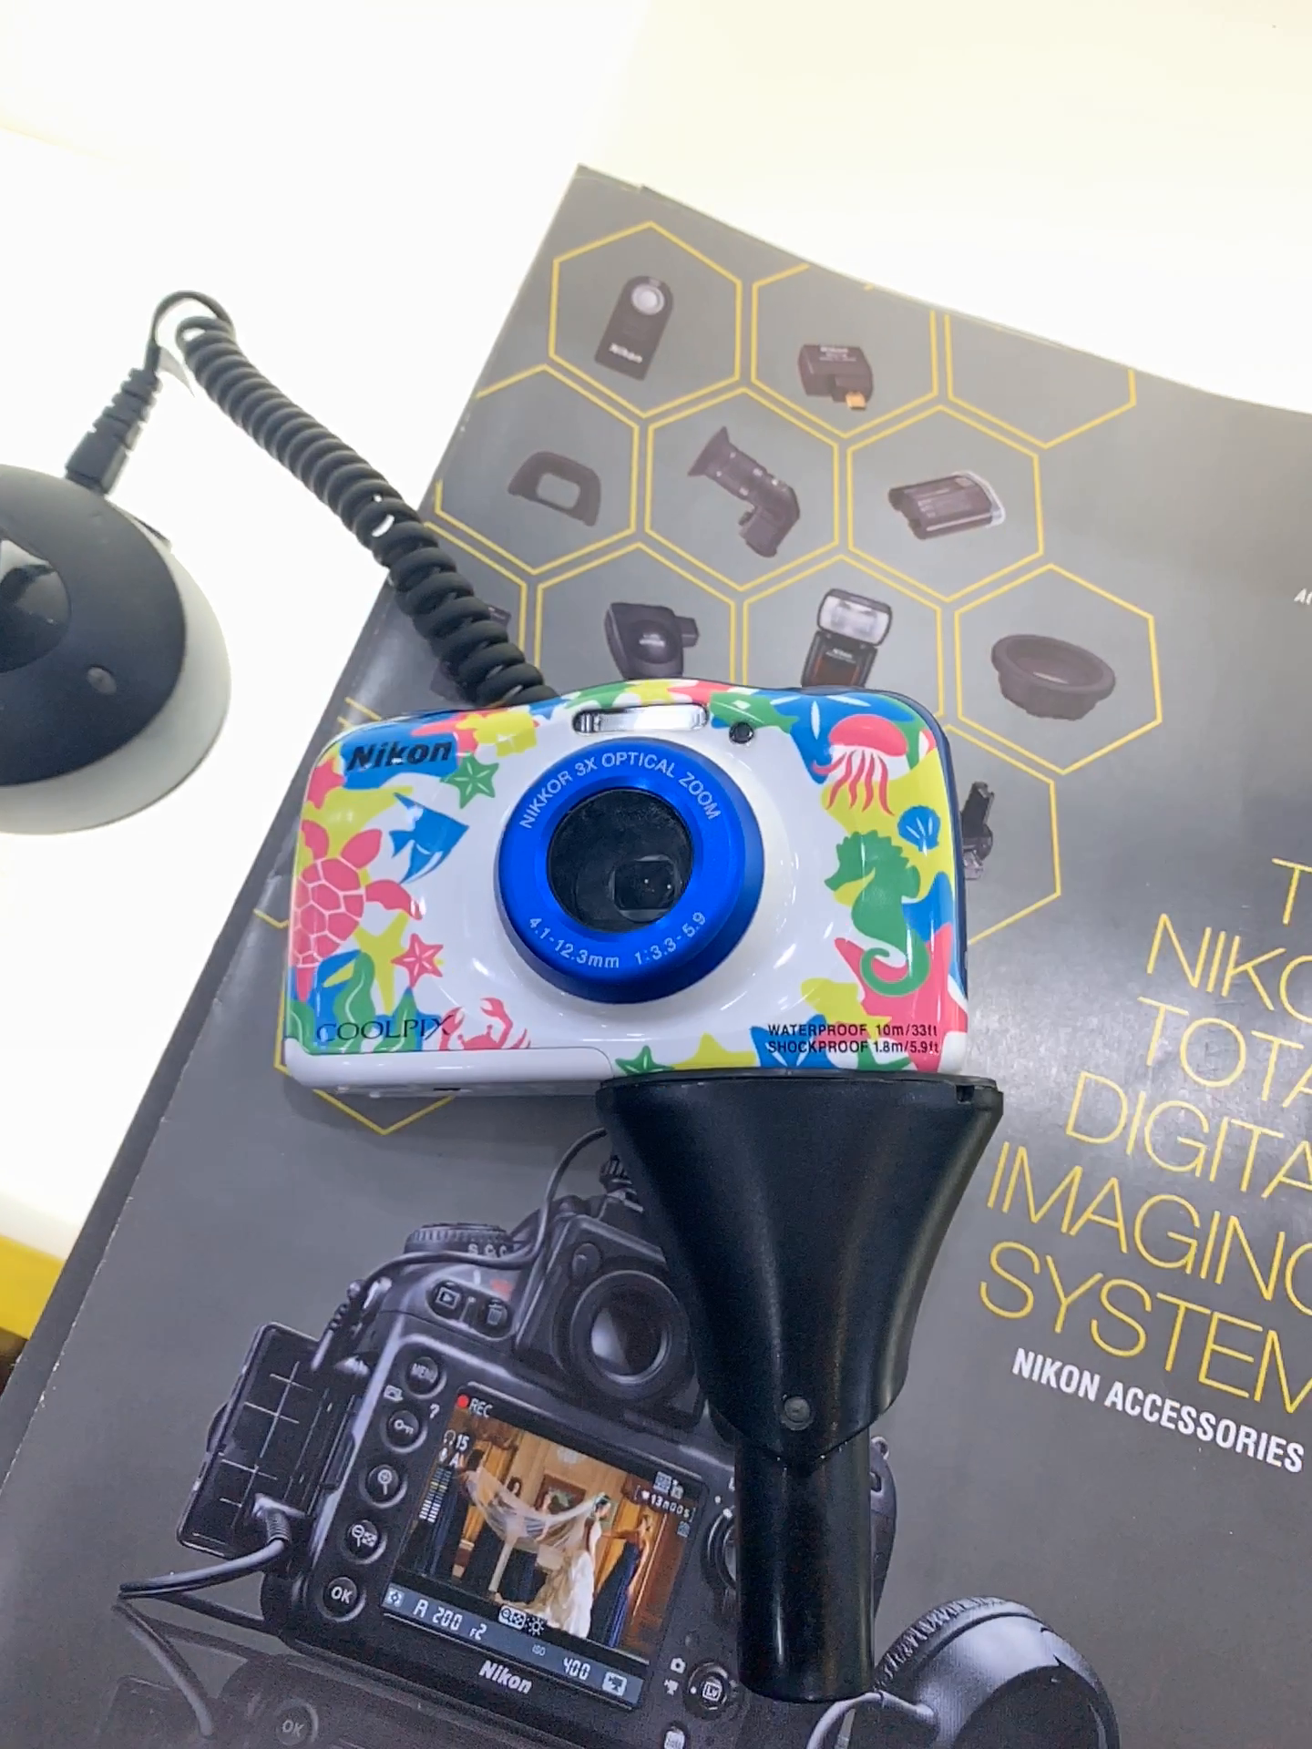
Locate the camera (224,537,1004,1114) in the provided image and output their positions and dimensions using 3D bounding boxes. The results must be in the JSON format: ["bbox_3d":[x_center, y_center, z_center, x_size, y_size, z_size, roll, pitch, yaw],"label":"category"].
[{"bbox_3d":[-0.005,-0.006,0.216,0.110,0.030,0.080,-3,70,10],"label":"camera"}]
